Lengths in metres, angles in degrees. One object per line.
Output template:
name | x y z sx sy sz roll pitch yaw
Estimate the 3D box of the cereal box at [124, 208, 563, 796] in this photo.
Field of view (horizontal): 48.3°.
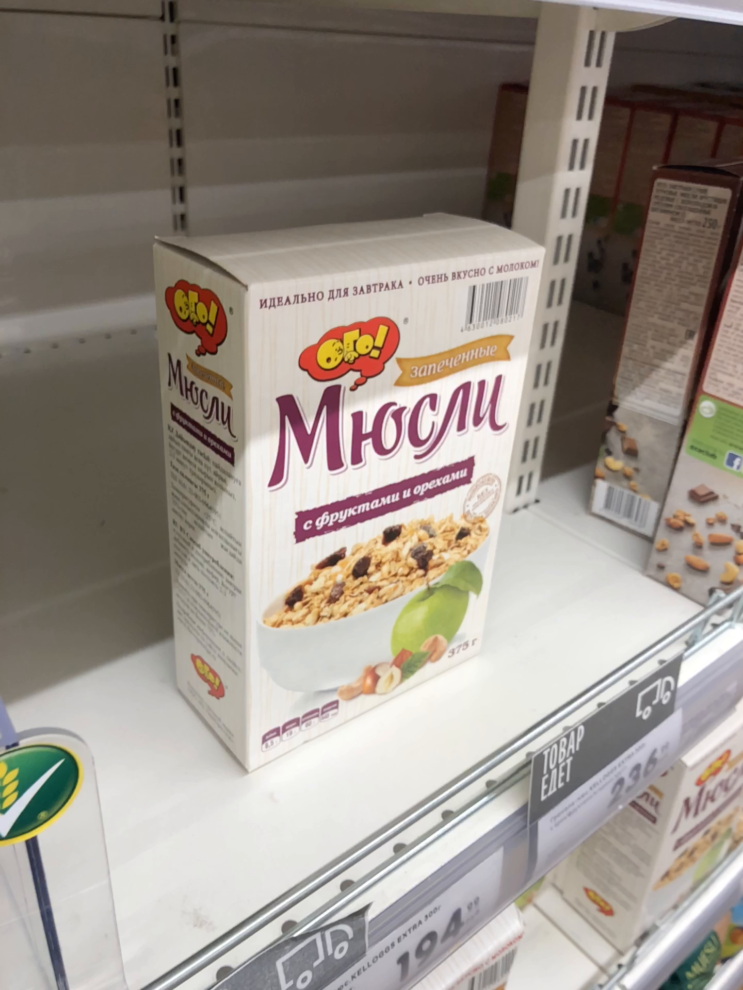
cereal box | -0.011 -0.003 0.338 0.140 0.199 0.070 -18 36 -34
